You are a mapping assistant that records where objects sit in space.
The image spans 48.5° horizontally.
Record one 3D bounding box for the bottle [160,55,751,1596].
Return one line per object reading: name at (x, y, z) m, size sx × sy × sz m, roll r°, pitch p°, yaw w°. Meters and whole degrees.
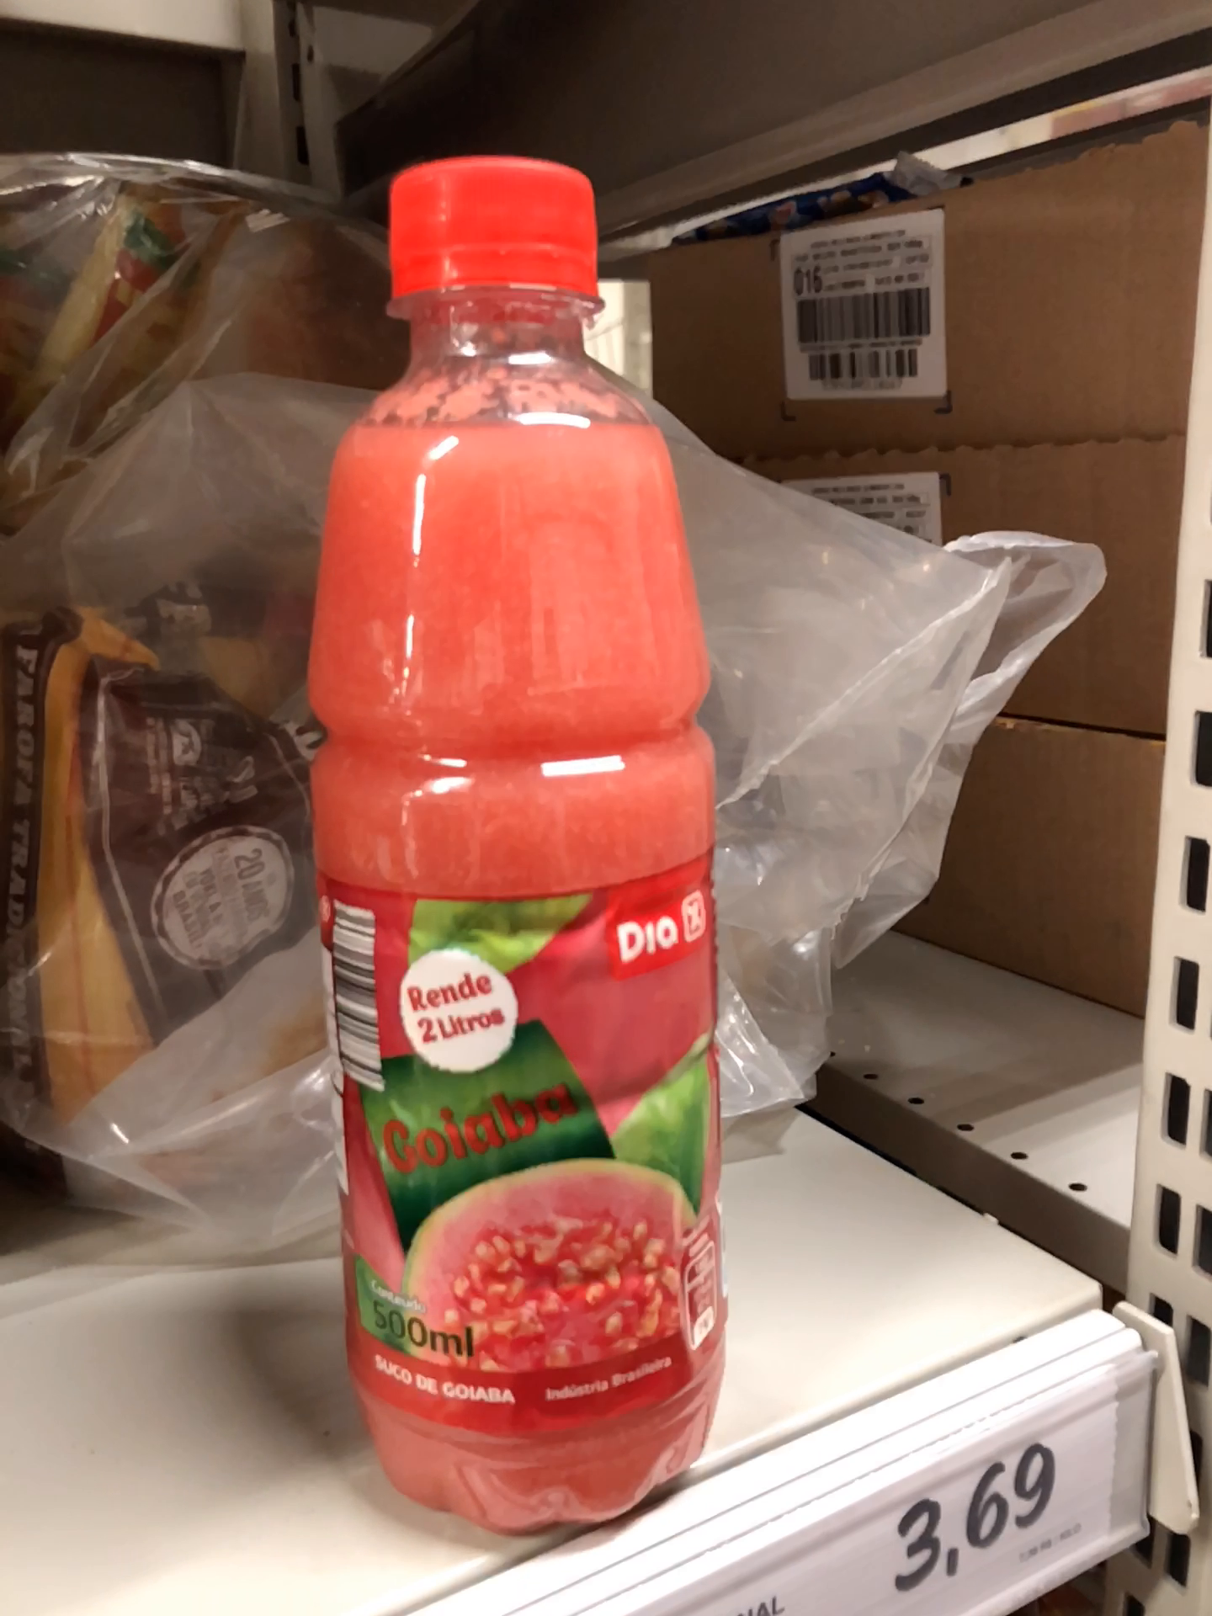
bottle at (-0.018, 0.006, 0.229) m, size 0.070 × 0.219 × 0.070 m, roll 0°, pitch 12°, yaw 0°
